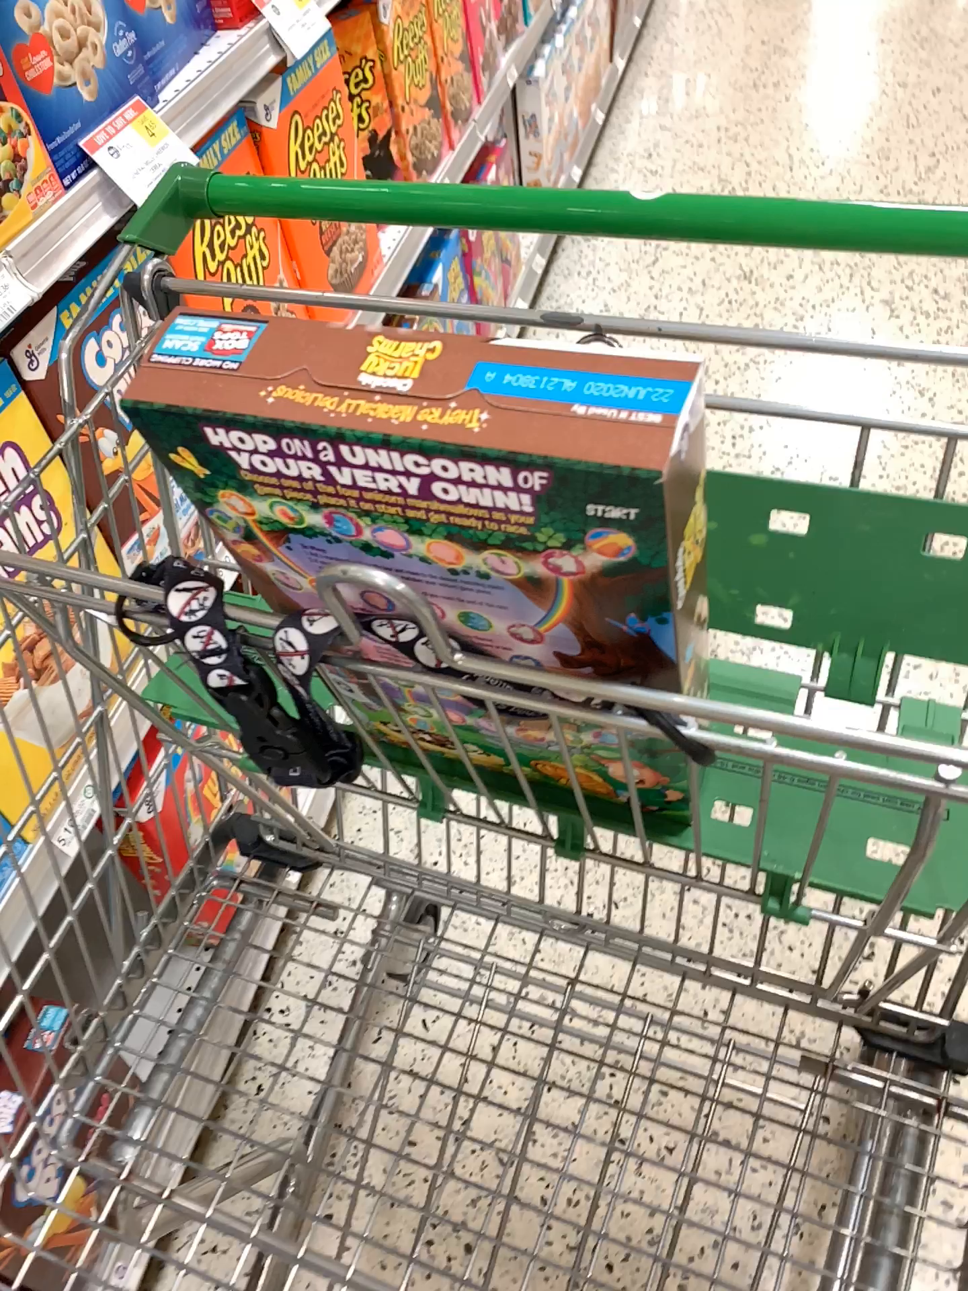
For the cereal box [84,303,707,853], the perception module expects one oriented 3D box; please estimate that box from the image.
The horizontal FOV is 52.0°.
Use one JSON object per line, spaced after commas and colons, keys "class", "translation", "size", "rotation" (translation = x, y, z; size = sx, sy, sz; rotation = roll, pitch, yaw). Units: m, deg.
{"class": "cereal box", "translation": [-0.007, -0.008, 0.440], "size": [0.200, 0.297, 0.050], "rotation": [11, 61, 19]}
